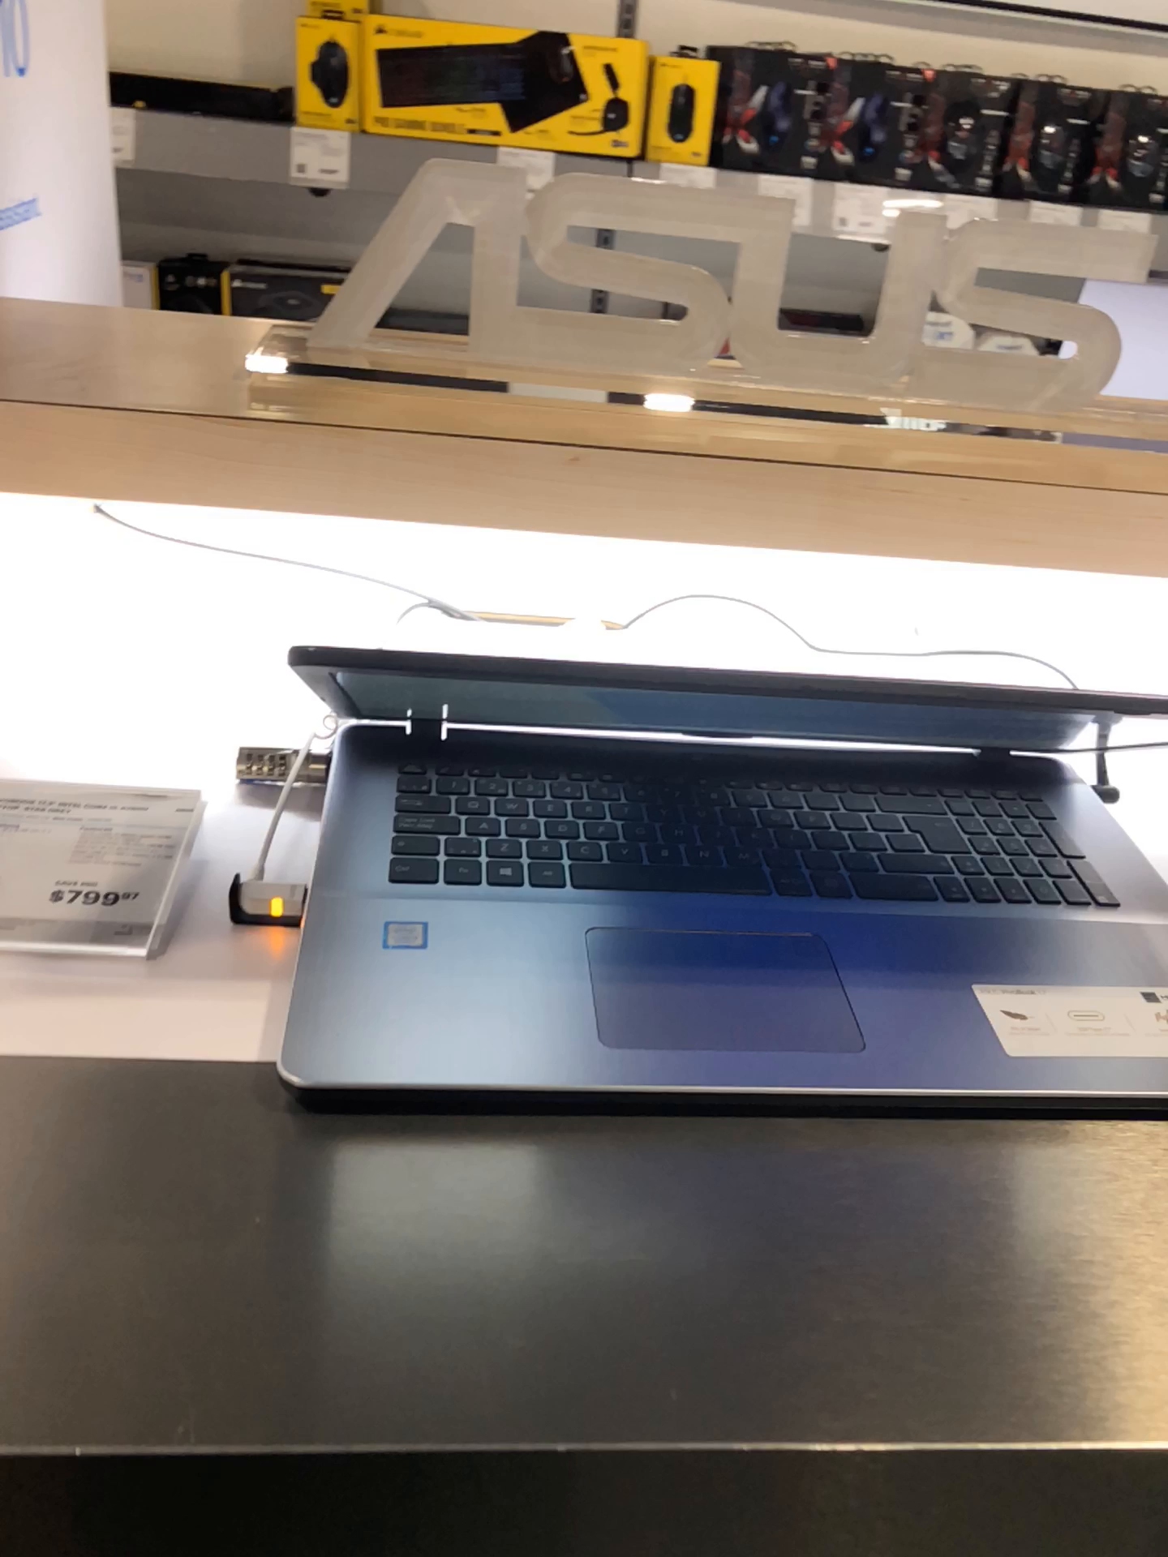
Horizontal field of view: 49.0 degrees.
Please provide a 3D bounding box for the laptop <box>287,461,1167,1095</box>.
[{"bbox_3d":[0.087,-0.014,0.554,0.390,0.144,0.260,2,30,-7],"label":"laptop"}]
